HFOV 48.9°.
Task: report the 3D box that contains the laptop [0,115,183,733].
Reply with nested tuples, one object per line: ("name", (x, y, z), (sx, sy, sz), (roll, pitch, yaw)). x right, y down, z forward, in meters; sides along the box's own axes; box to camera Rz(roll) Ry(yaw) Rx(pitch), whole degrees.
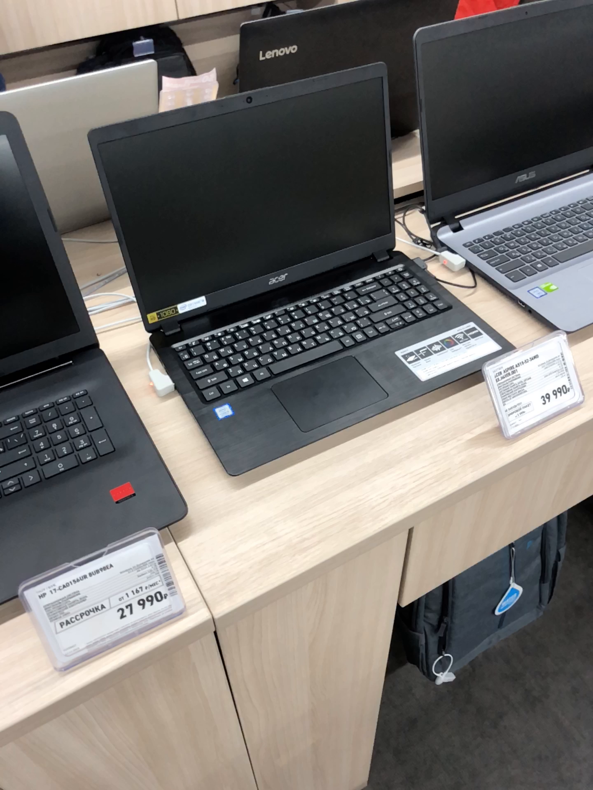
("laptop", (-0.352, -0.019, 0.528), (0.354, 0.226, 0.346), (-24, 51, -24))

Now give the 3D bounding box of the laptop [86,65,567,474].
("laptop", (0.018, -0.154, 0.685), (0.346, 0.219, 0.292), (-22, 48, -19))

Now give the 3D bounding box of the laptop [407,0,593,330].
("laptop", (0.376, -0.319, 0.815), (0.327, 0.218, 0.325), (-23, 51, -17))
